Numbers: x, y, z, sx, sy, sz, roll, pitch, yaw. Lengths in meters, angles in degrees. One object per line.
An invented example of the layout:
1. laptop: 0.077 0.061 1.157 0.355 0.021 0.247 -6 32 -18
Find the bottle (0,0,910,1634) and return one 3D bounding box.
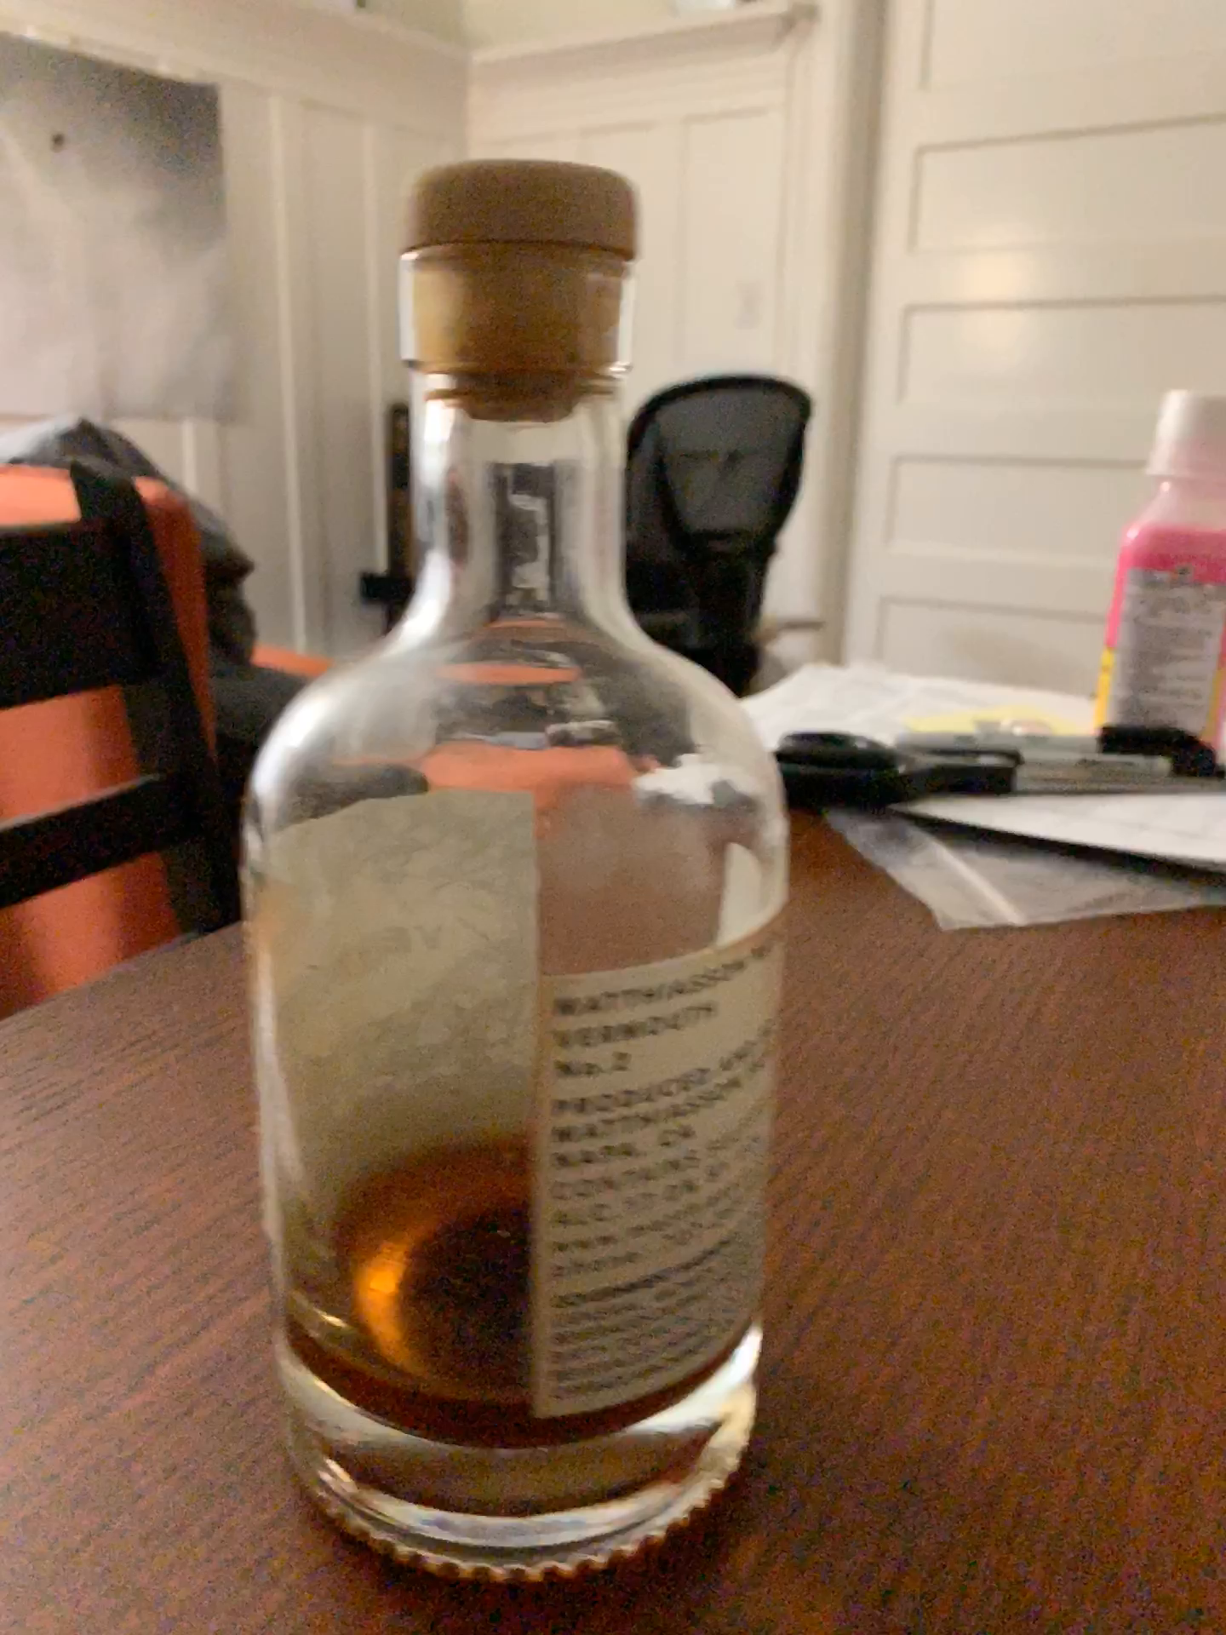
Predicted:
1. bottle: -0.018 0.004 0.182 0.080 0.189 0.090 10 19 27
